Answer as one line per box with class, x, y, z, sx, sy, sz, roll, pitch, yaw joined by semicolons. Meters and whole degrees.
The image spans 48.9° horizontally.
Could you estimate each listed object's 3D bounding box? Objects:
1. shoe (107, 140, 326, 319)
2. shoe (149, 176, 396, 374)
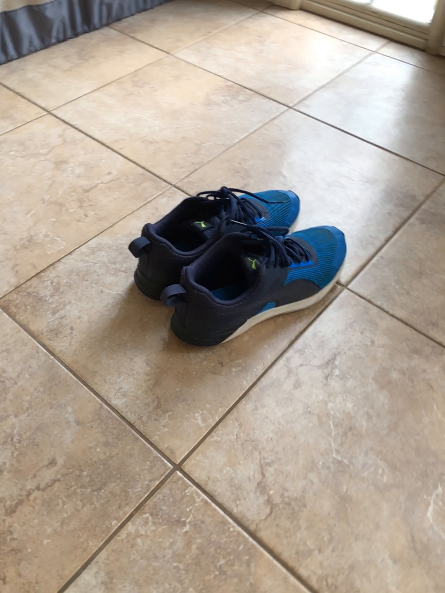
shoe;-0.002;-0.102;0.684;0.281;0.100;0.110;-31;58;-24
shoe;0.065;-0.036;0.627;0.290;0.100;0.110;-27;56;-22
